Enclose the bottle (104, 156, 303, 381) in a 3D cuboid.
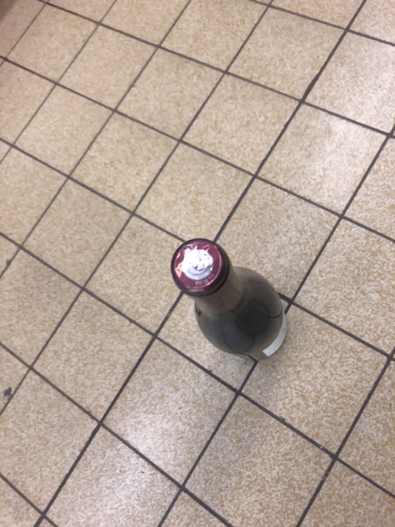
[{"bbox_3d":[0.026,0.030,0.314,0.070,0.240,0.080,-23,70,6],"label":"bottle"}]
